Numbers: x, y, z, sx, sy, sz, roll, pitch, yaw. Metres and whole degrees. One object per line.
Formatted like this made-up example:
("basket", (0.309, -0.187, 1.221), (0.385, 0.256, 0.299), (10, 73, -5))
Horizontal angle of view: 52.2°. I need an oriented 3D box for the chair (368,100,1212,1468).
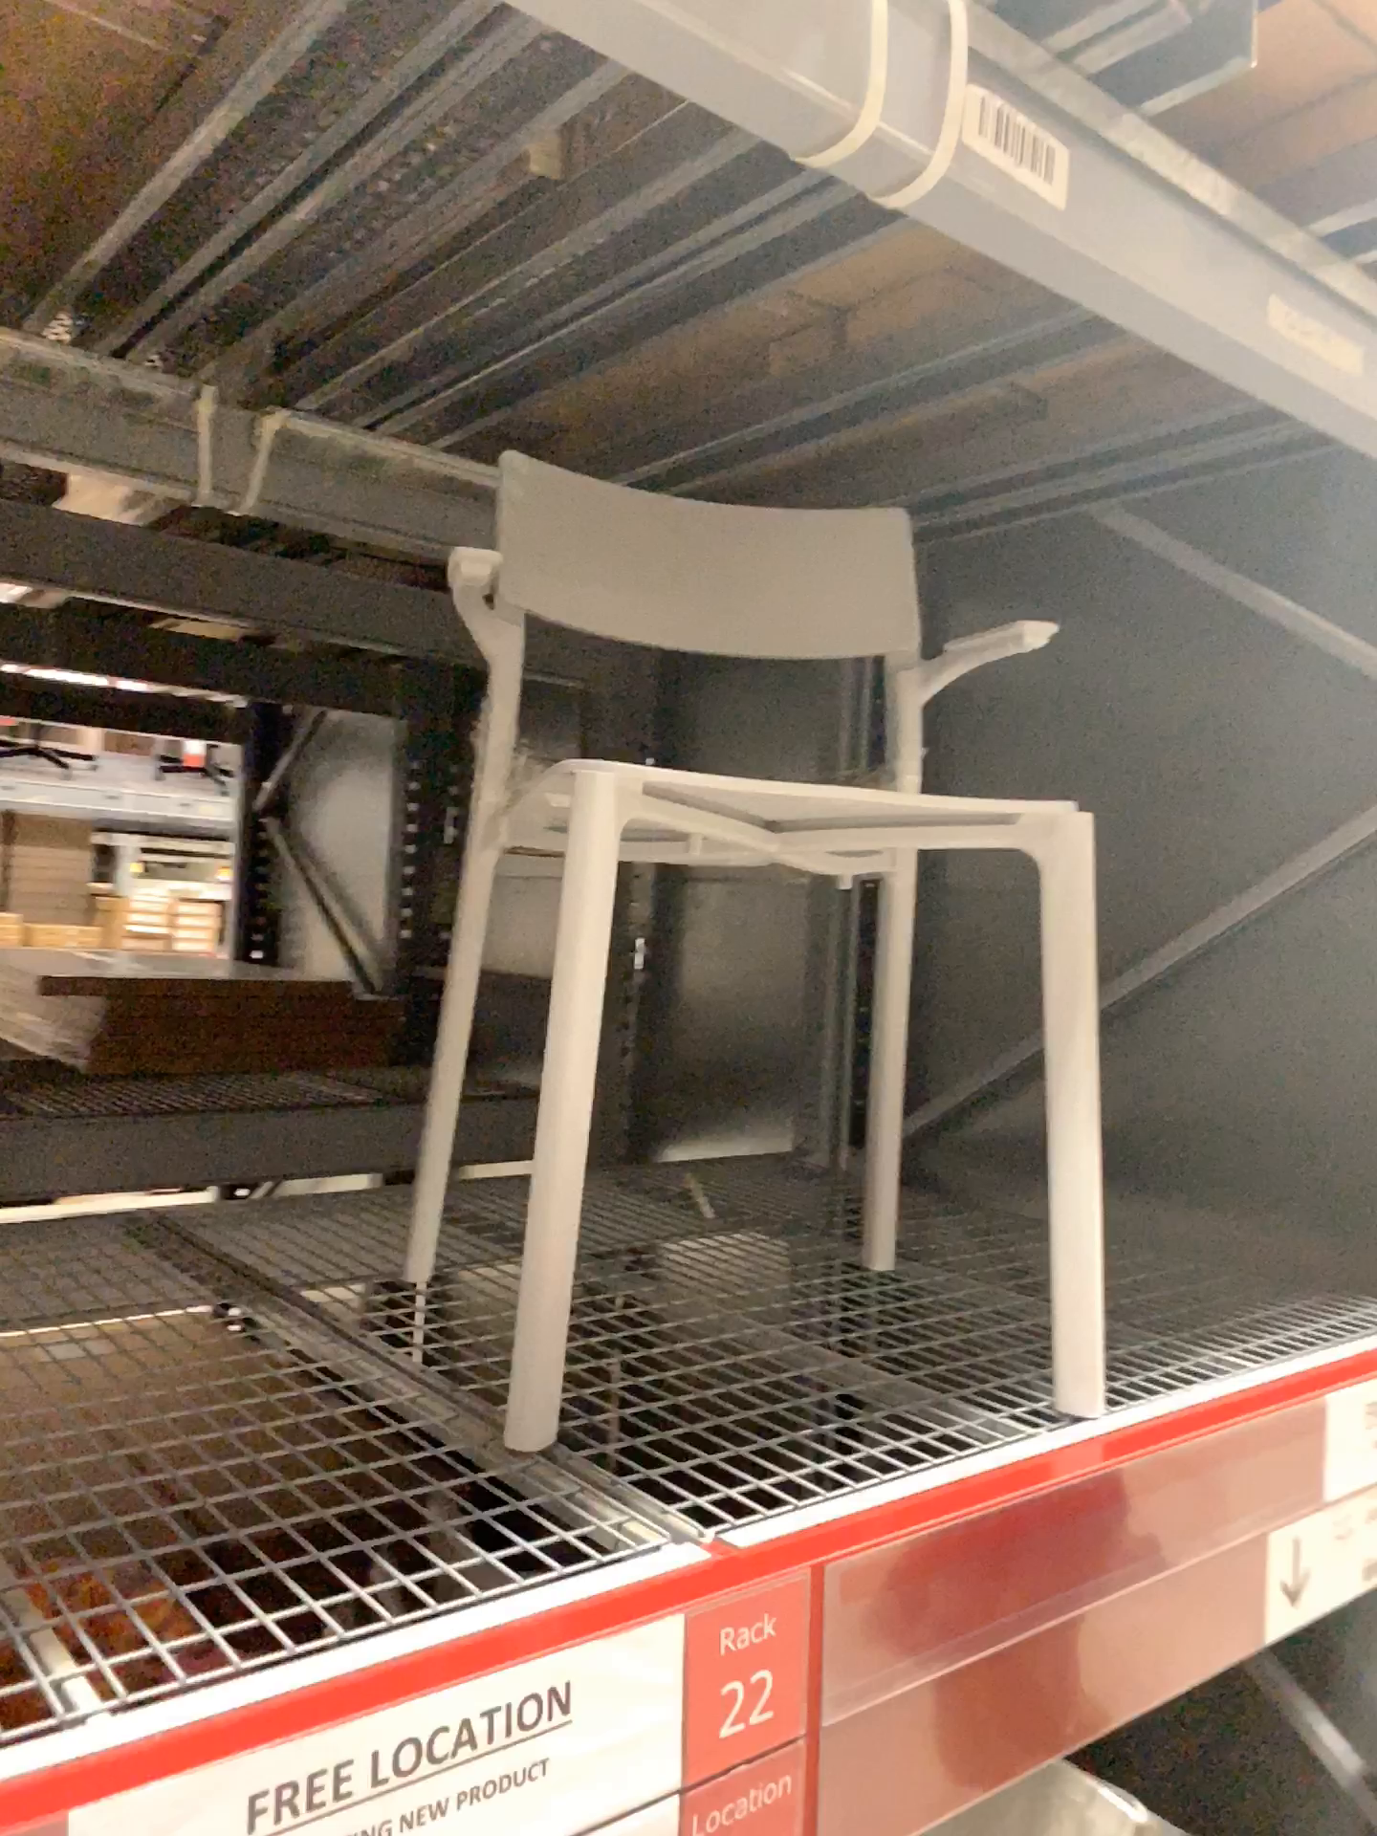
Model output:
("chair", (0.034, -0.074, 1.179), (0.480, 0.820, 0.550), (4, -1, -20))
